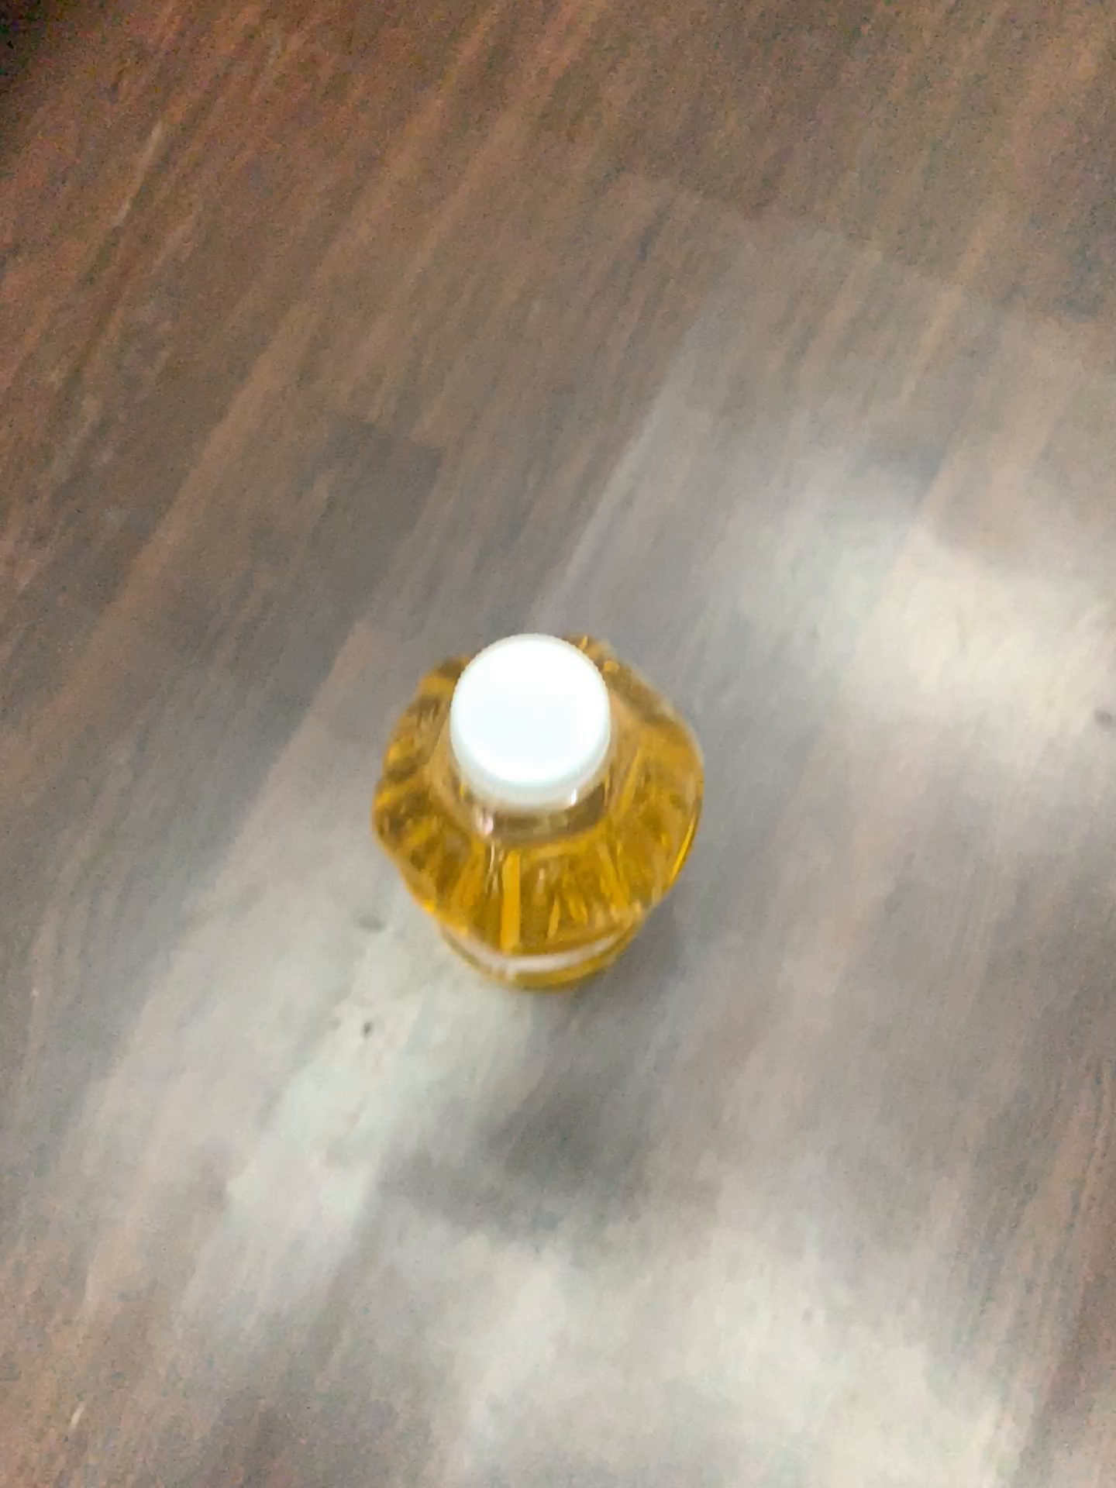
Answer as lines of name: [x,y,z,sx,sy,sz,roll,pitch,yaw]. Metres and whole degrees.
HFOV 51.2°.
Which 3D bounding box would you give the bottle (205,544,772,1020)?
bottle: [-0.009,0.034,0.321,0.090,0.260,0.070,3,75,1]
